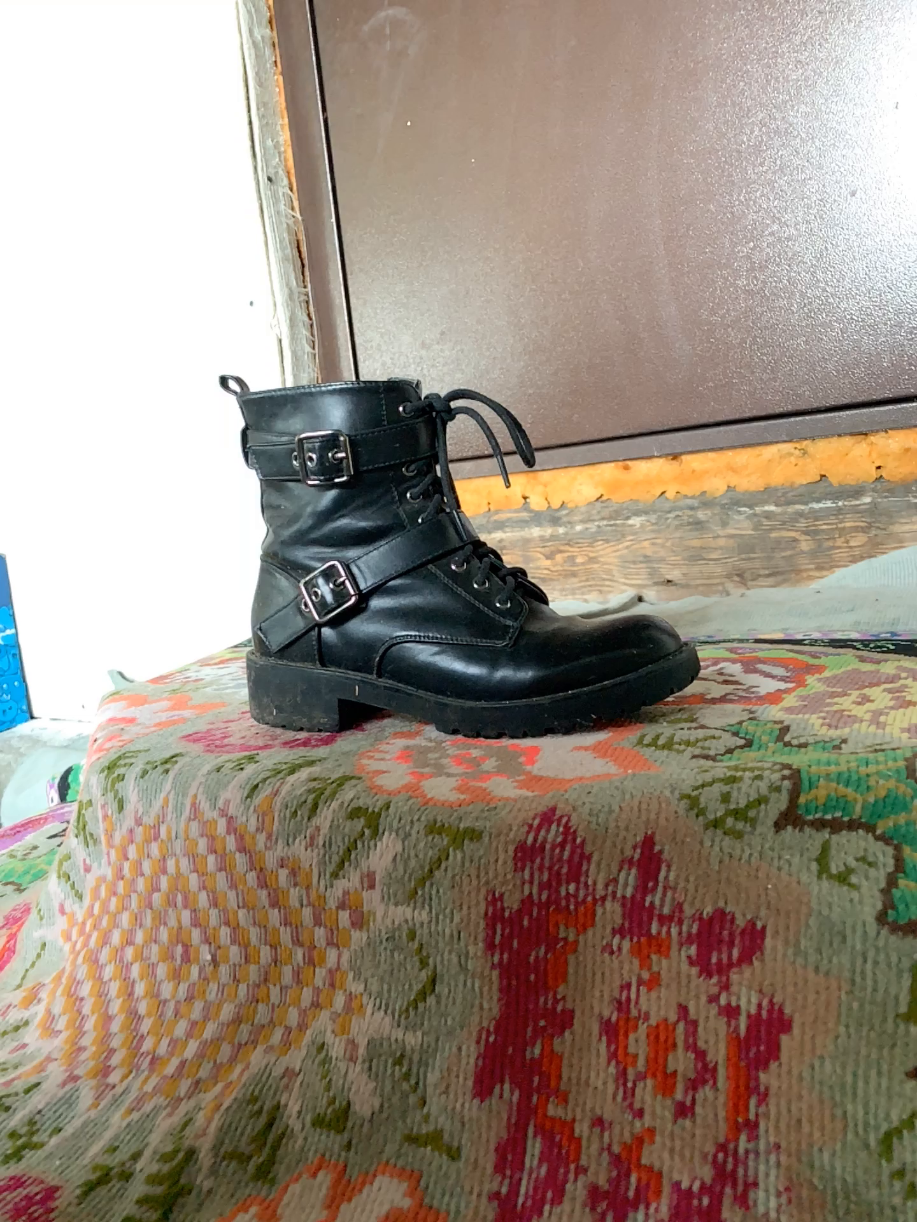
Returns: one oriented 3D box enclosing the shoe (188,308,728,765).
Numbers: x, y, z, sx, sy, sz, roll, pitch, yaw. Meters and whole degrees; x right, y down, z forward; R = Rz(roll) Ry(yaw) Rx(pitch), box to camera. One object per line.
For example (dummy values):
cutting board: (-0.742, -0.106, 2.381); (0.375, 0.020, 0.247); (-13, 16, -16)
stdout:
shoe: (0.000, -0.029, 0.480); (0.240, 0.190, 0.090); (-3, 6, 24)
